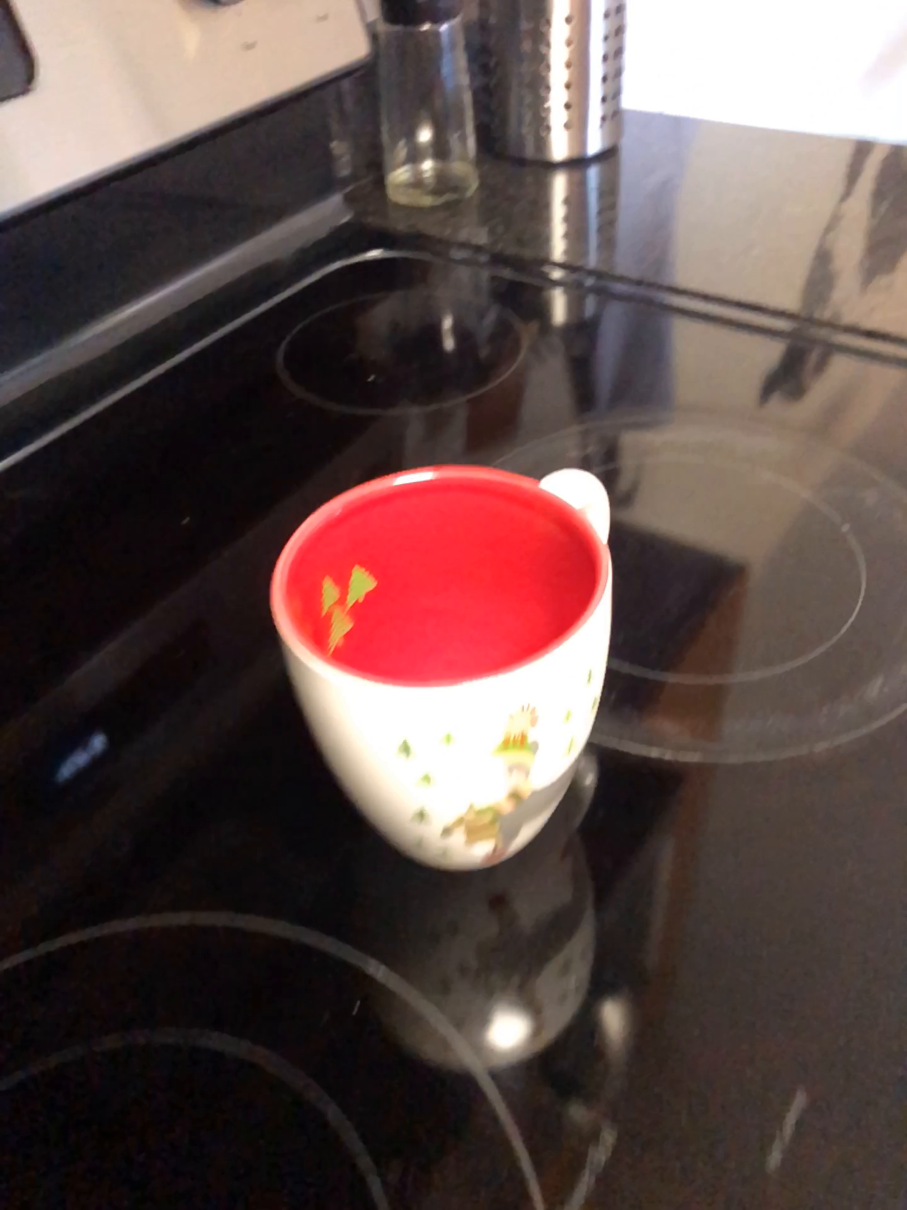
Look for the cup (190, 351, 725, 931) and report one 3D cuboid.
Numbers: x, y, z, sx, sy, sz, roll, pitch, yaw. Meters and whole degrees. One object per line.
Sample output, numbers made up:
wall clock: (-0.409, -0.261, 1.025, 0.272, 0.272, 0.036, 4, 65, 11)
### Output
cup: (0.010, 0.003, 0.333, 0.100, 0.100, 0.140, 20, 47, 26)
